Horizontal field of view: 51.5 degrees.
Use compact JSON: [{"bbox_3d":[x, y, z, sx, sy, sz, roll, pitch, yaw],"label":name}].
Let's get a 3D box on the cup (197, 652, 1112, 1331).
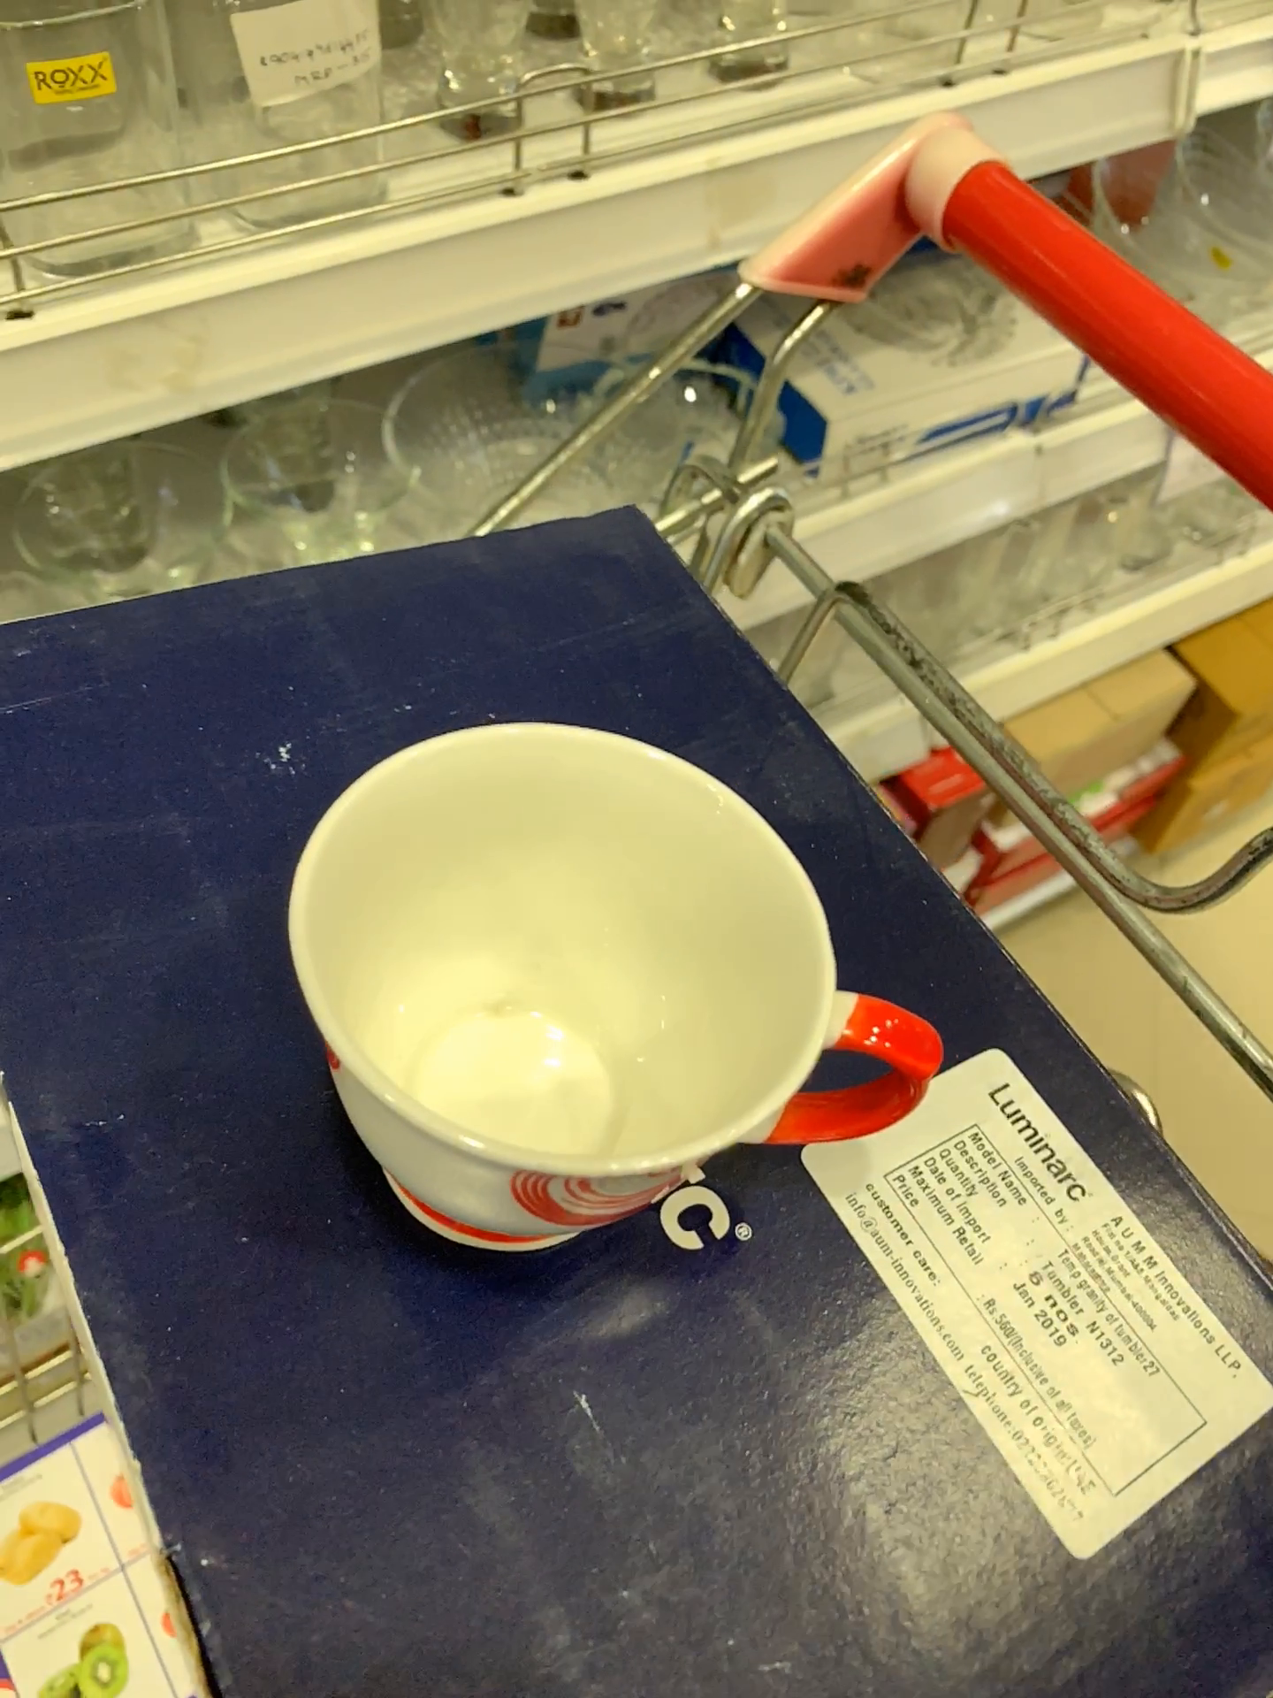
[{"bbox_3d":[-0.001,0.022,0.181,0.100,0.050,0.070,5,55,-11],"label":"cup"}]
